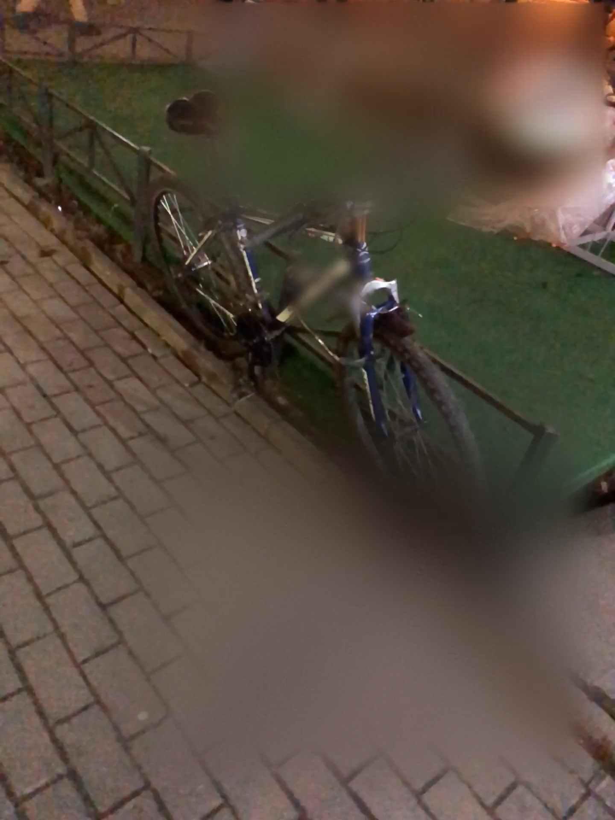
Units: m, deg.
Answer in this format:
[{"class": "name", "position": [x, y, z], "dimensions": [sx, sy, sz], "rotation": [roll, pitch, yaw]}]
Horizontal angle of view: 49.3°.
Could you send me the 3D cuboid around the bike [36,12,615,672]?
[{"class": "bike", "position": [-0.126, -0.292, 1.679], "dimensions": [0.531, 0.882, 1.462], "rotation": [-16, 46, -36]}]
